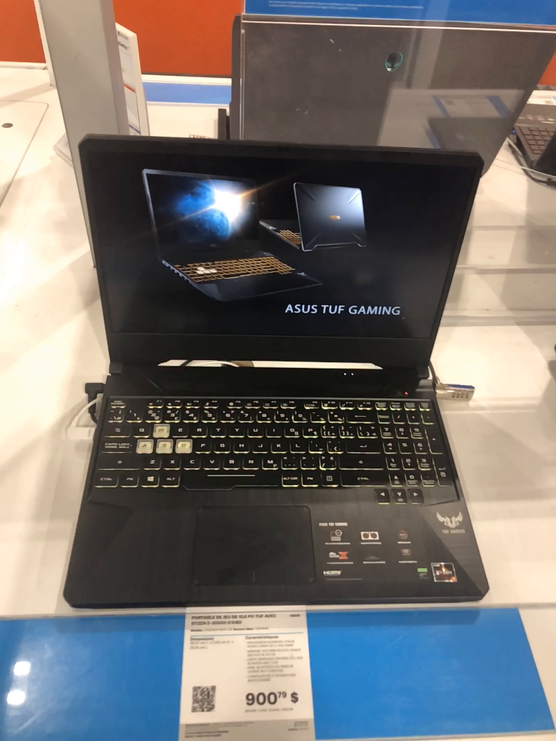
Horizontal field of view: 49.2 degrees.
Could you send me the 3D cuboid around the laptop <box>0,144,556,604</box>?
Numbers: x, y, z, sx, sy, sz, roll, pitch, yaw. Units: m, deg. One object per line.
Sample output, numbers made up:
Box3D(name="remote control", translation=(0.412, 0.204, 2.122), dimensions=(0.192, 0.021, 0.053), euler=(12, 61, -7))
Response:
Box3D(name="laptop", translation=(0.006, -0.003, 0.524), dimensions=(0.350, 0.235, 0.302), euler=(1, 47, -4))
